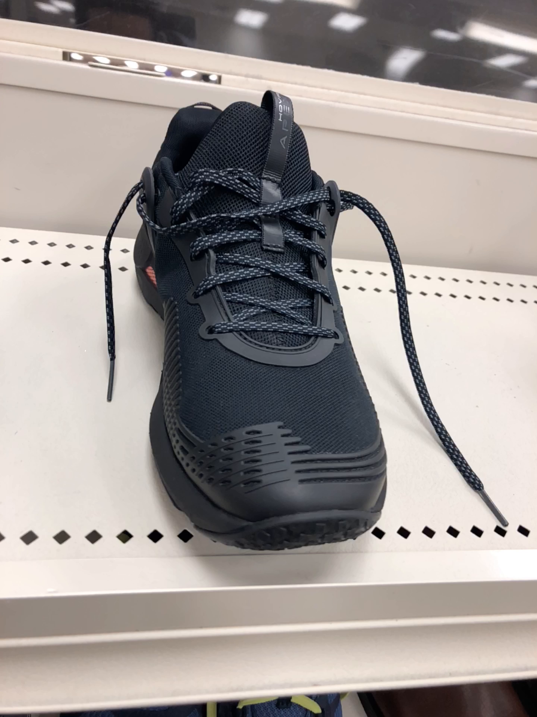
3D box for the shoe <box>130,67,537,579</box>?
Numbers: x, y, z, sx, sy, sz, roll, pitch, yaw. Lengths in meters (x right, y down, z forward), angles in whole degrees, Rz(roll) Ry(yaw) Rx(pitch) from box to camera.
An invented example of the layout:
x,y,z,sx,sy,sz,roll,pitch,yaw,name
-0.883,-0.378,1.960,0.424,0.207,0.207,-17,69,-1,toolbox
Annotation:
x,y,z,sx,sy,sz,roll,pitch,yaw,name
-0.012,-0.067,0.342,0.120,0.129,0.353,2,31,-15,shoe
